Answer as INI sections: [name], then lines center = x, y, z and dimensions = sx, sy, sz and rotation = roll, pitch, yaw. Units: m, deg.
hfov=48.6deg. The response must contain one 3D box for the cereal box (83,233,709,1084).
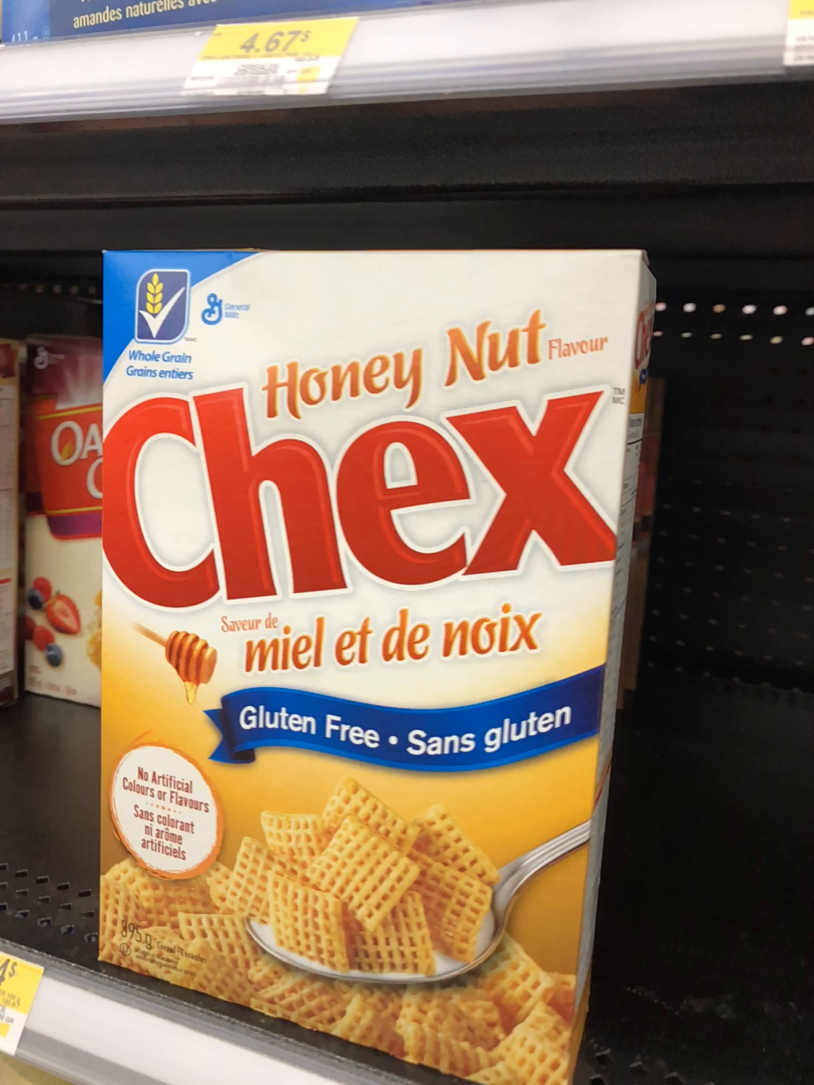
[cereal box]
center = -0.016, 0.036, 0.332
dimensions = 0.210, 0.279, 0.050
rotation = 7, 9, 20
